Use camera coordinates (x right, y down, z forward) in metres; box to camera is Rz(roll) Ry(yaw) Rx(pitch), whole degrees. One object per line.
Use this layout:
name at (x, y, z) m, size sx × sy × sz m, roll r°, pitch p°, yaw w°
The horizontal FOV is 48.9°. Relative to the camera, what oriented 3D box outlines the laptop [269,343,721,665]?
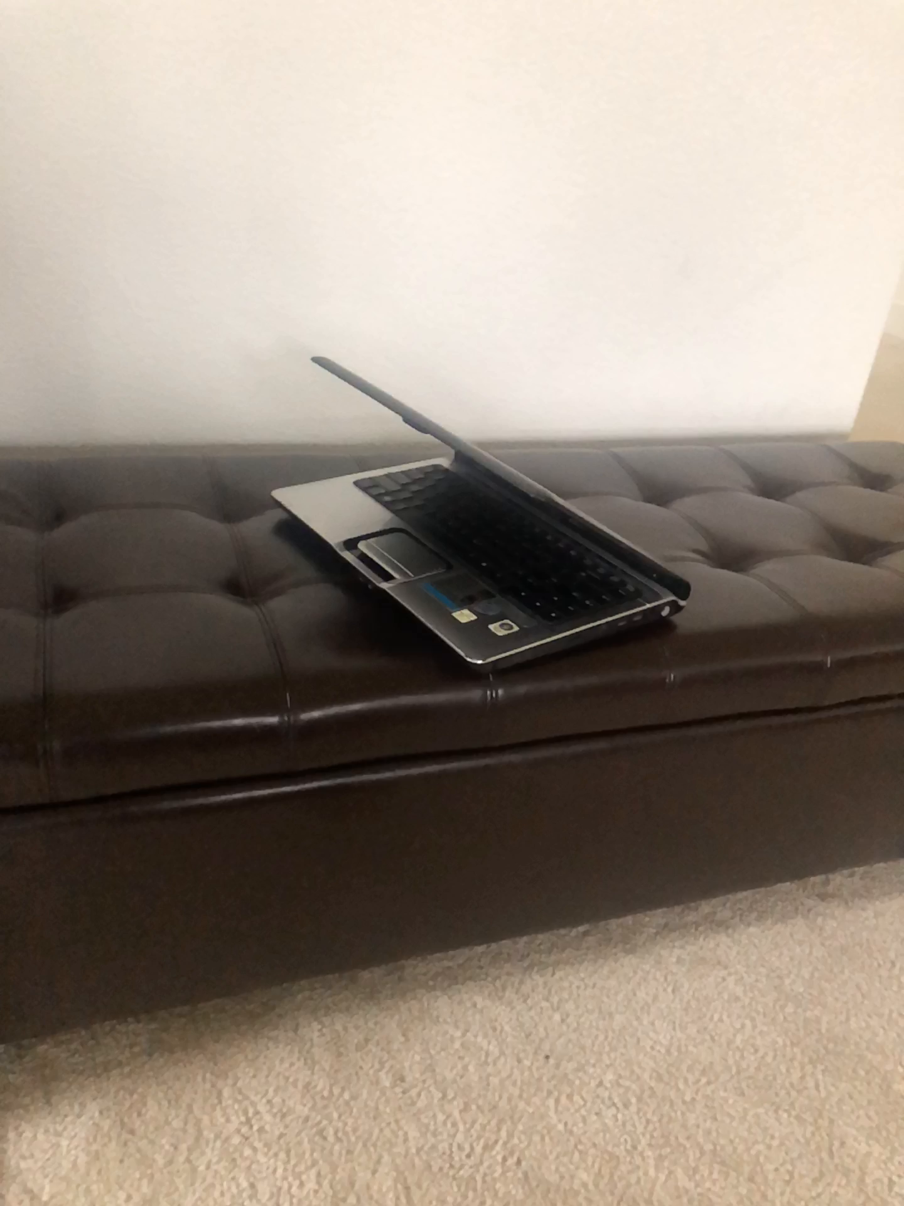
laptop at (0.019, -0.110, 0.861) m, size 0.230 × 0.122 × 0.333 m, roll -15°, pitch 36°, yaw -33°
